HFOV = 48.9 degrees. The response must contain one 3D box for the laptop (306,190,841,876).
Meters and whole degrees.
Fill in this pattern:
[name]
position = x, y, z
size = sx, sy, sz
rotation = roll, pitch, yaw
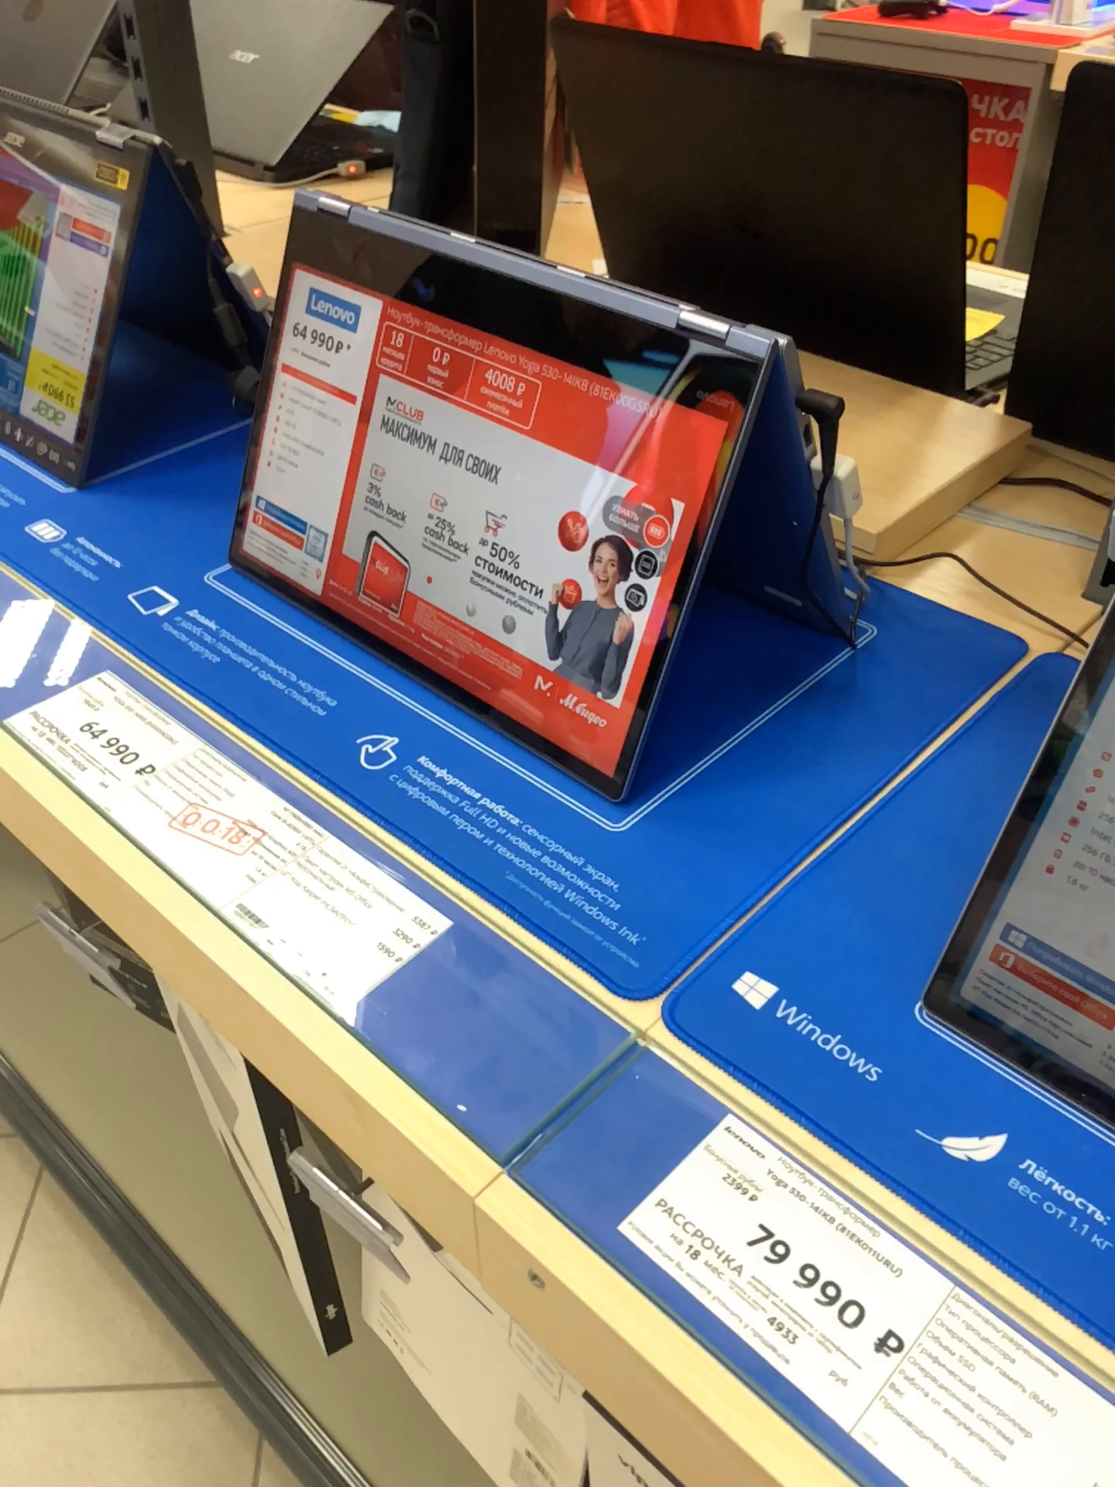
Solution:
[laptop]
position = 0.015, -0.108, 0.774
size = 0.306, 0.157, 0.221
rotation = 29, 9, 29
